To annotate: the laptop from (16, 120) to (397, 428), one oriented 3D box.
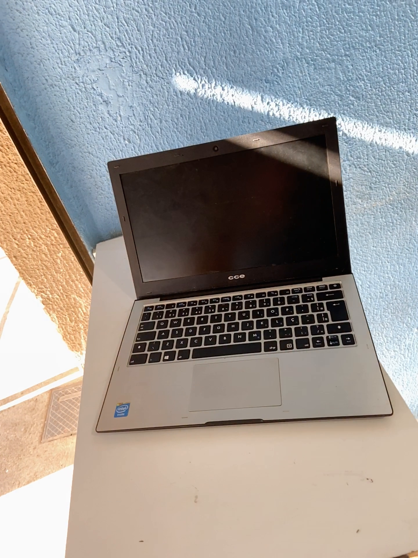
[{"bbox_3d":[0.016,-0.017,0.513,0.313,0.181,0.305,-7,39,11],"label":"laptop"}]
